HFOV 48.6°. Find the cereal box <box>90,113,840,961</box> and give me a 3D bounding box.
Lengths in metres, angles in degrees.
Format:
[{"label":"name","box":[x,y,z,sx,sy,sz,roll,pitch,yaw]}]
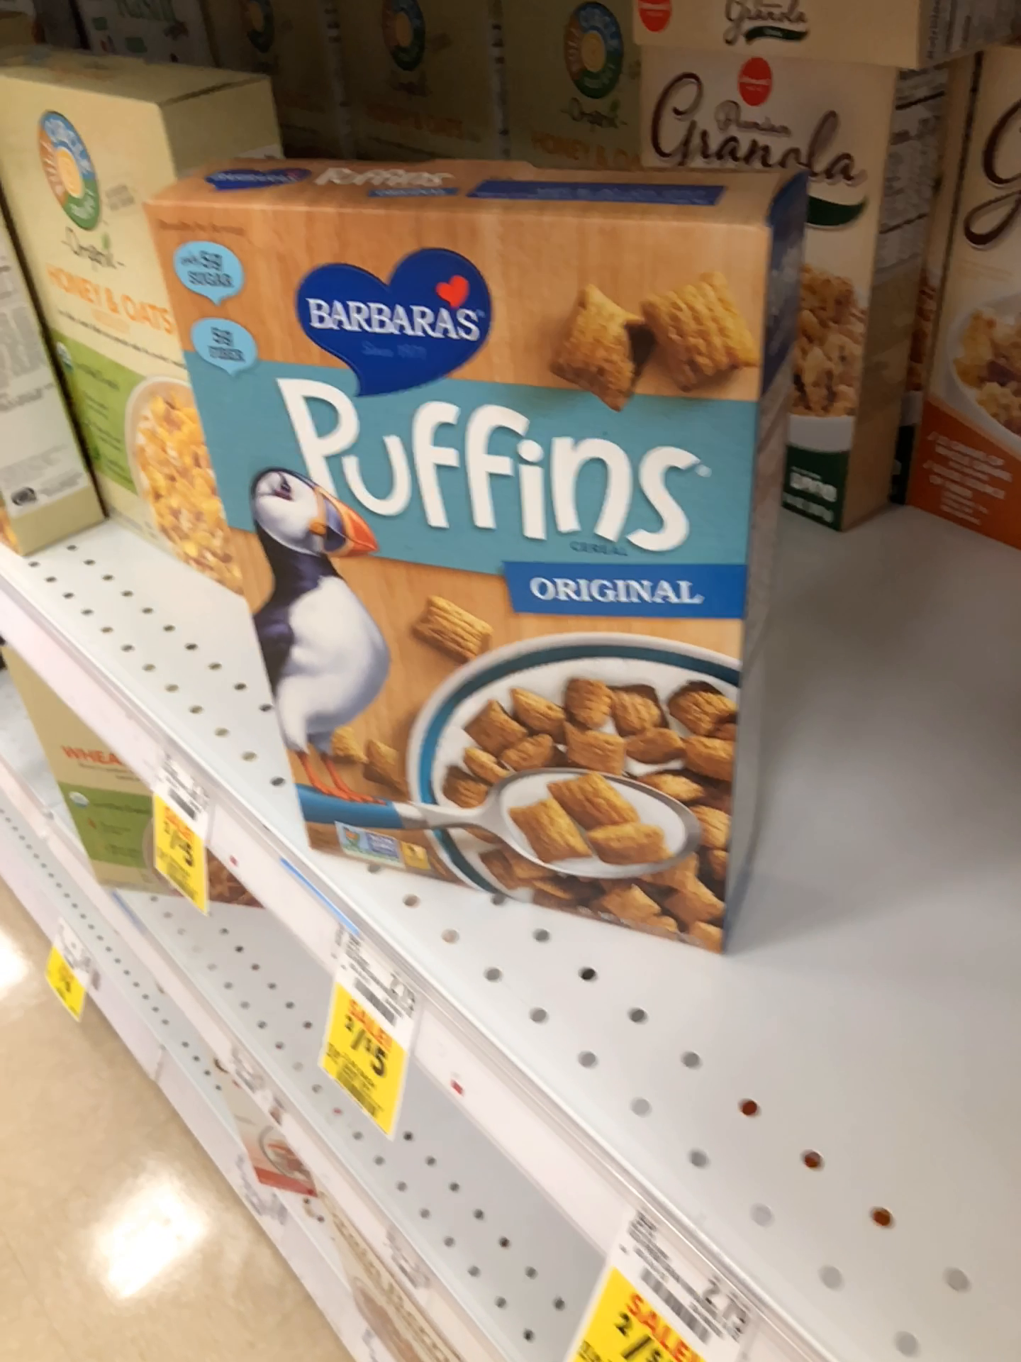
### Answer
[{"label":"cereal box","box":[-0.005,-0.038,0.375,0.190,0.259,0.060,10,40,21]}]
